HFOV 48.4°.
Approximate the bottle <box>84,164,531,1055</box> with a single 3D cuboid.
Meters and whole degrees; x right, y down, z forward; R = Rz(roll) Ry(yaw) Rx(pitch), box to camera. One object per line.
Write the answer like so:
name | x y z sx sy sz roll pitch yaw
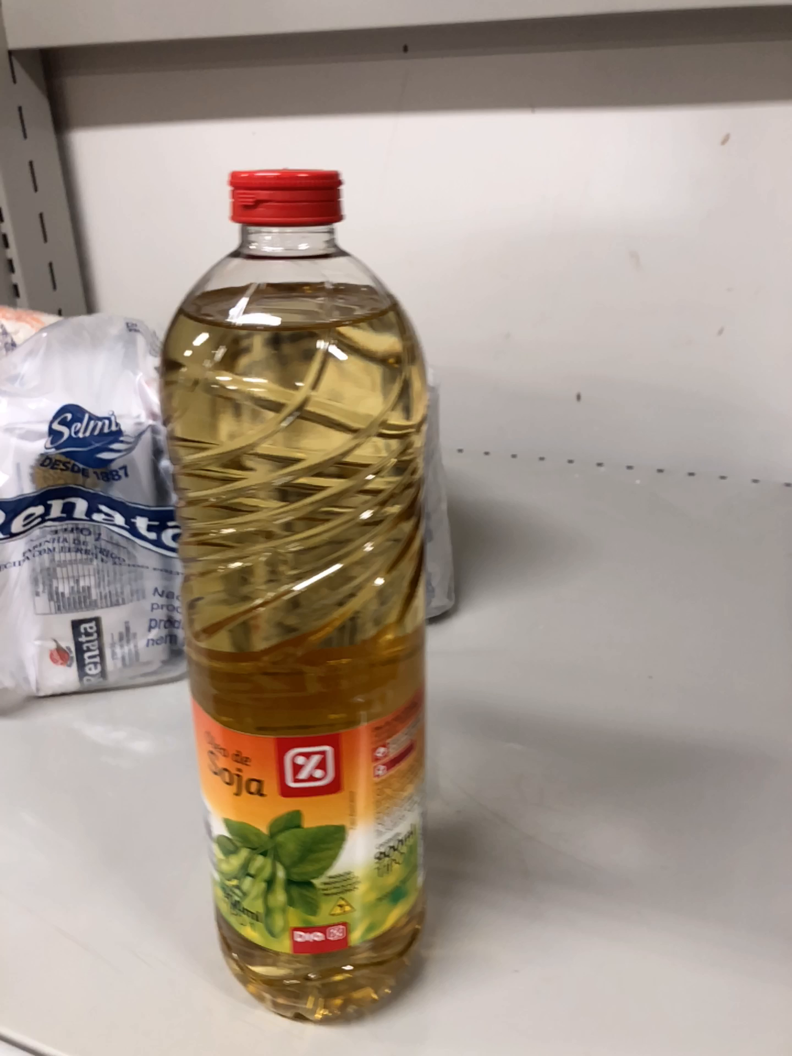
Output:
bottle | -0.019 0.034 0.263 0.080 0.258 0.070 14 28 27
